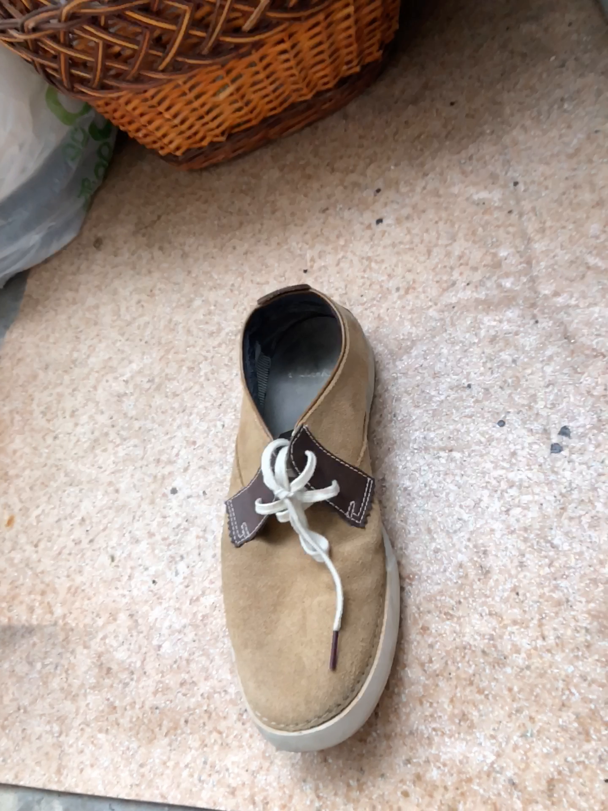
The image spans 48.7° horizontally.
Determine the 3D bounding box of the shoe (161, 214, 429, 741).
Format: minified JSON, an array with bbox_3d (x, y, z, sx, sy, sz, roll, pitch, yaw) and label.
[{"bbox_3d":[0.003,0.038,0.417,0.110,0.090,0.301,-11,59,22],"label":"shoe"}]
